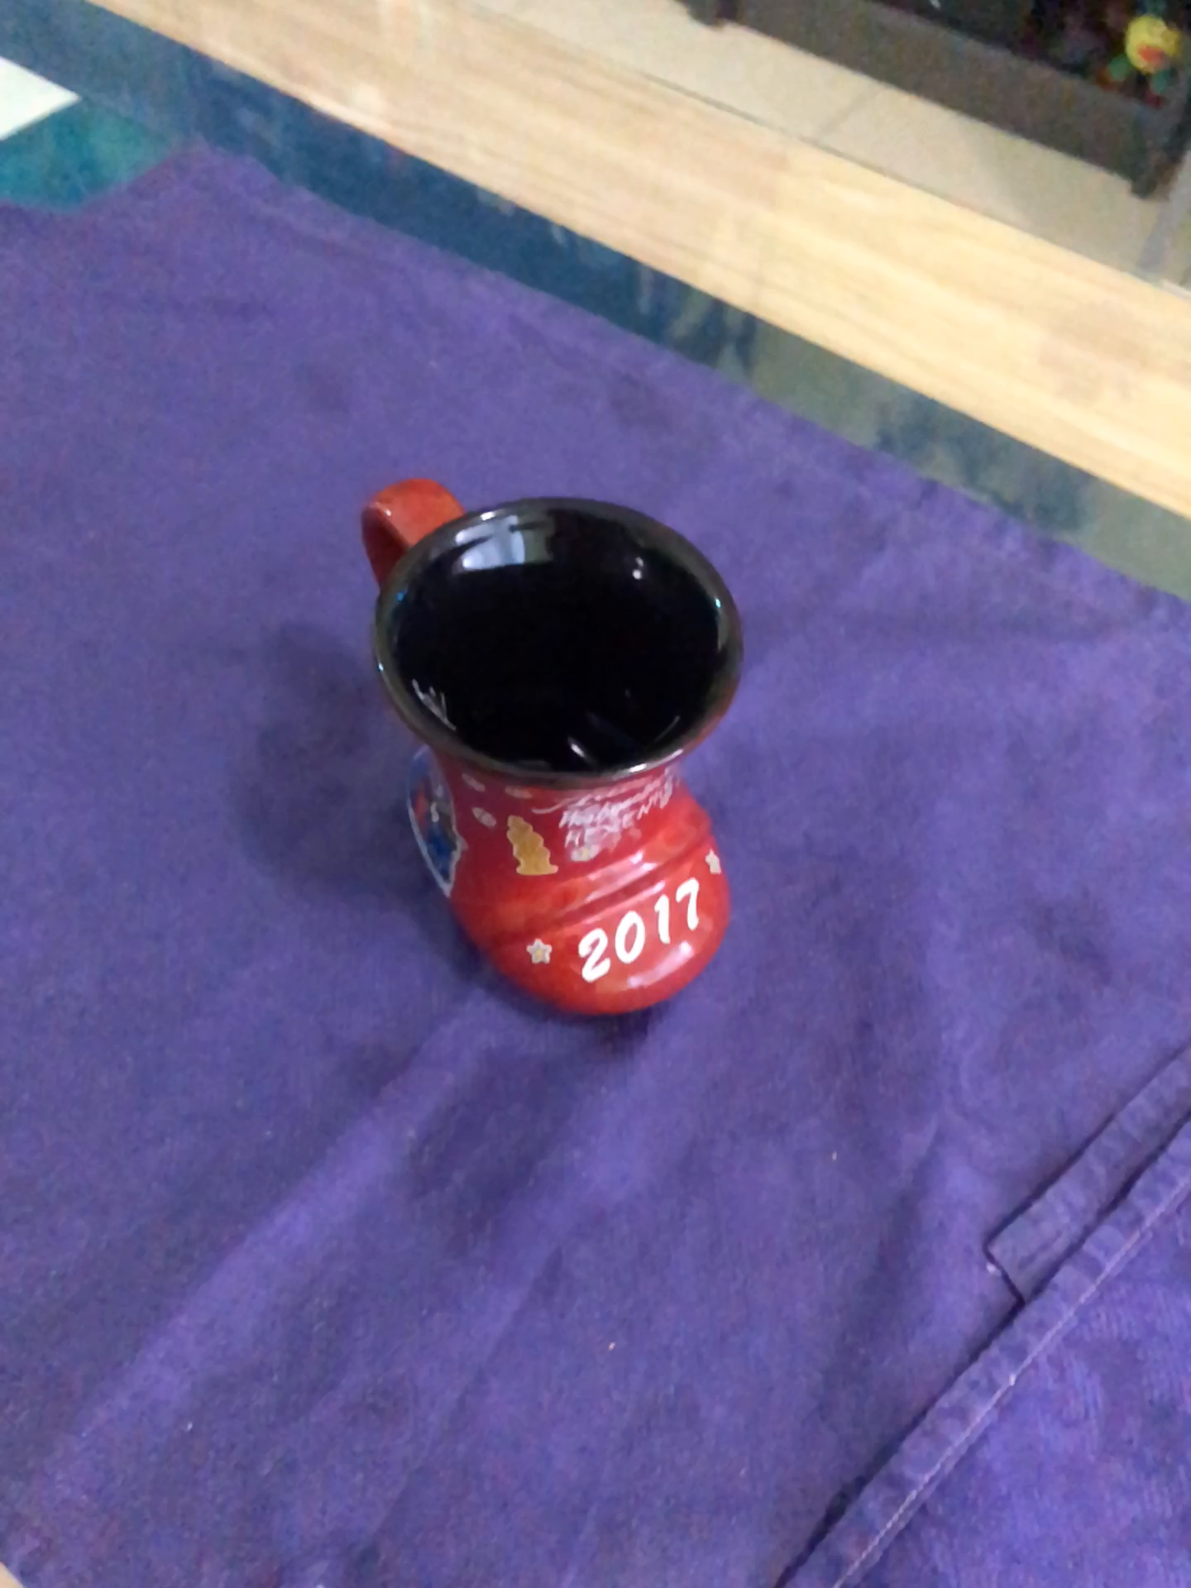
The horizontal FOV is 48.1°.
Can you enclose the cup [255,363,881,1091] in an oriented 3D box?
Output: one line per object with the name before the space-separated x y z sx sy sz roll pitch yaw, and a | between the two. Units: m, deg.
cup | -0.010 -0.016 0.303 0.070 0.090 0.120 -29 61 -20
